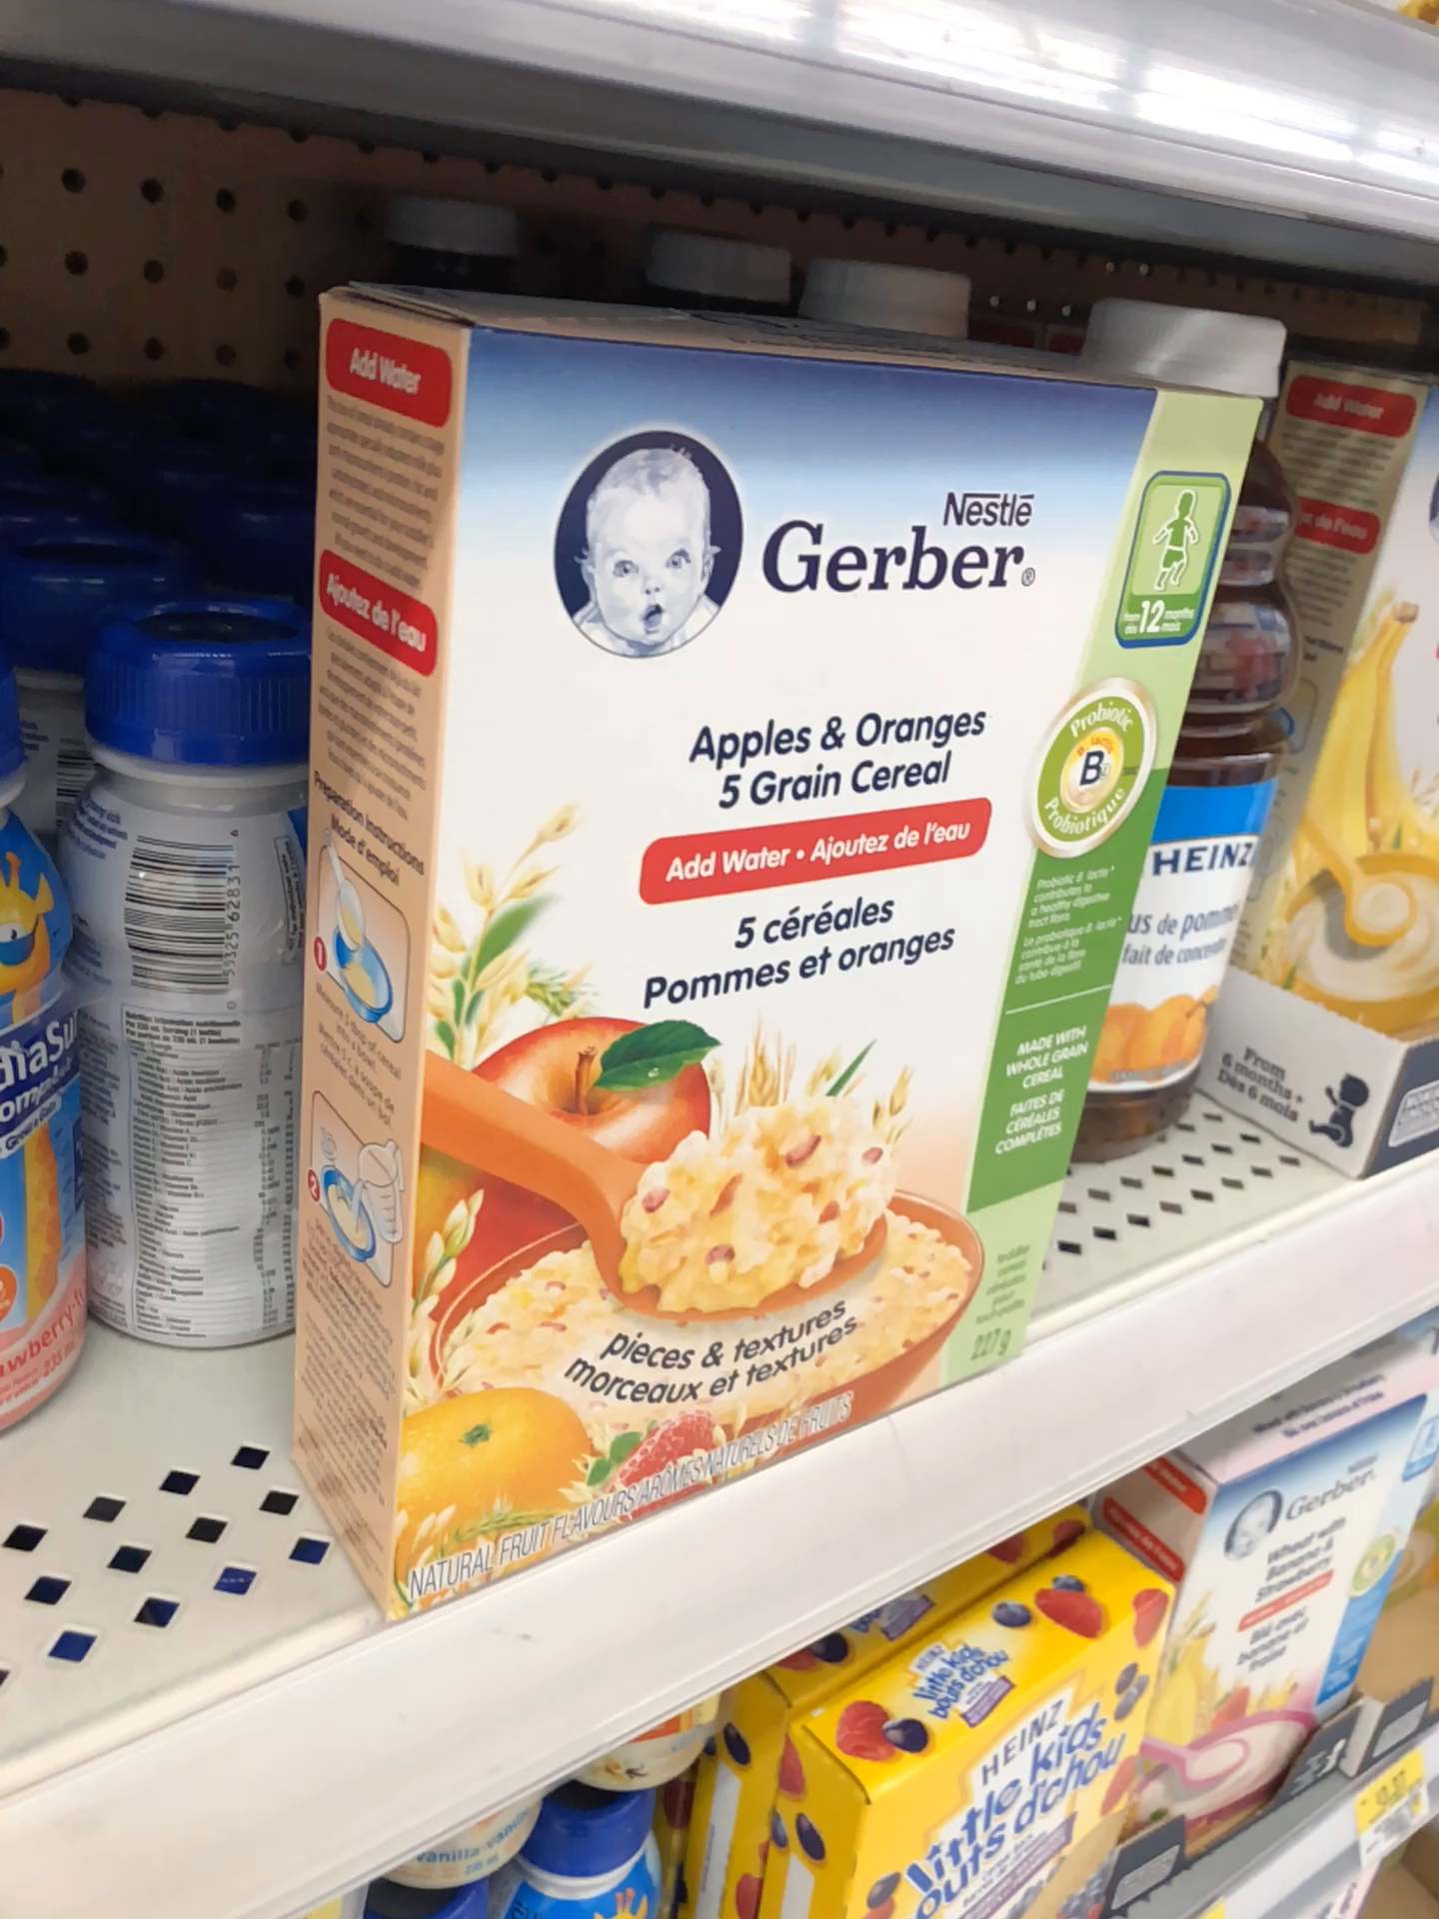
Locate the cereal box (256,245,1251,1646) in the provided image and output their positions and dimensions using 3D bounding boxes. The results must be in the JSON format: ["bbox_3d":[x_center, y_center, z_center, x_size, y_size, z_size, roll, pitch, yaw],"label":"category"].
[{"bbox_3d":[0.001,-0.003,0.272,0.140,0.199,0.050,-10,30,-37],"label":"cereal box"}]
